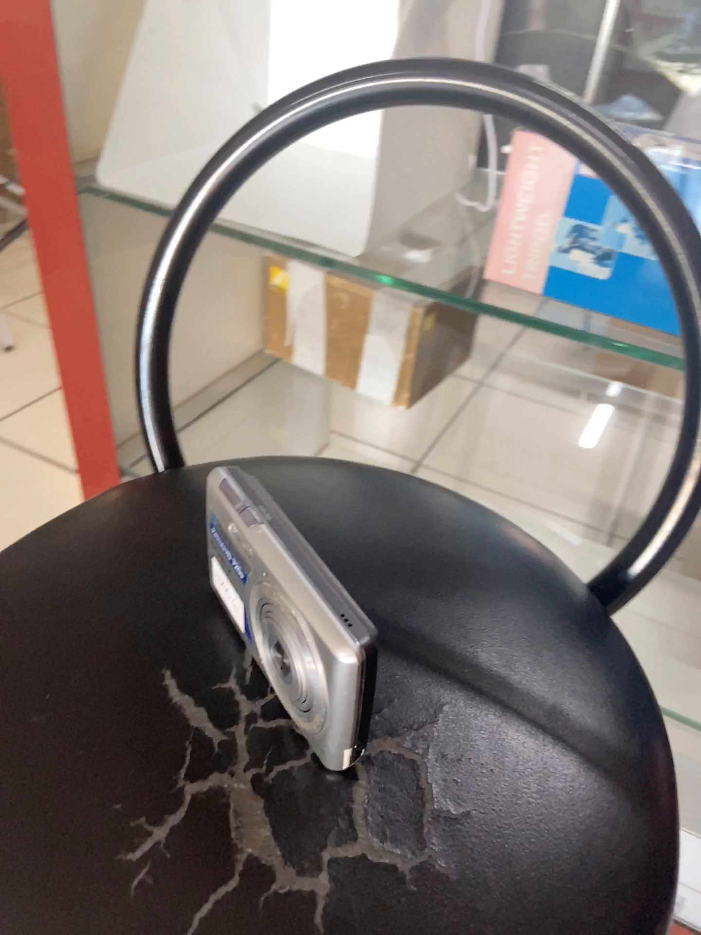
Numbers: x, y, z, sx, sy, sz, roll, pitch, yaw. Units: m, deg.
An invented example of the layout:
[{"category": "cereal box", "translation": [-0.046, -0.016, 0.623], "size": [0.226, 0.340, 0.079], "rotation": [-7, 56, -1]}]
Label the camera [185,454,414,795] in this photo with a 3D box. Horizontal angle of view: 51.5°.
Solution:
[{"category": "camera", "translation": [-0.023, 0.050, 0.254], "size": [0.030, 0.060, 0.100], "rotation": [-17, 42, -28]}]
